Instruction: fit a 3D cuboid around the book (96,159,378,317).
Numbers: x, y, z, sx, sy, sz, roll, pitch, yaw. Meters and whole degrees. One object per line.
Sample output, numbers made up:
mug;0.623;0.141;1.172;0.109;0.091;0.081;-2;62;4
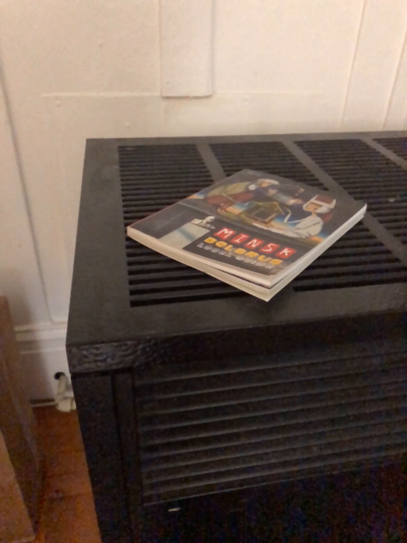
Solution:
book;0.036;-0.048;0.400;0.160;0.020;0.201;24;39;31
